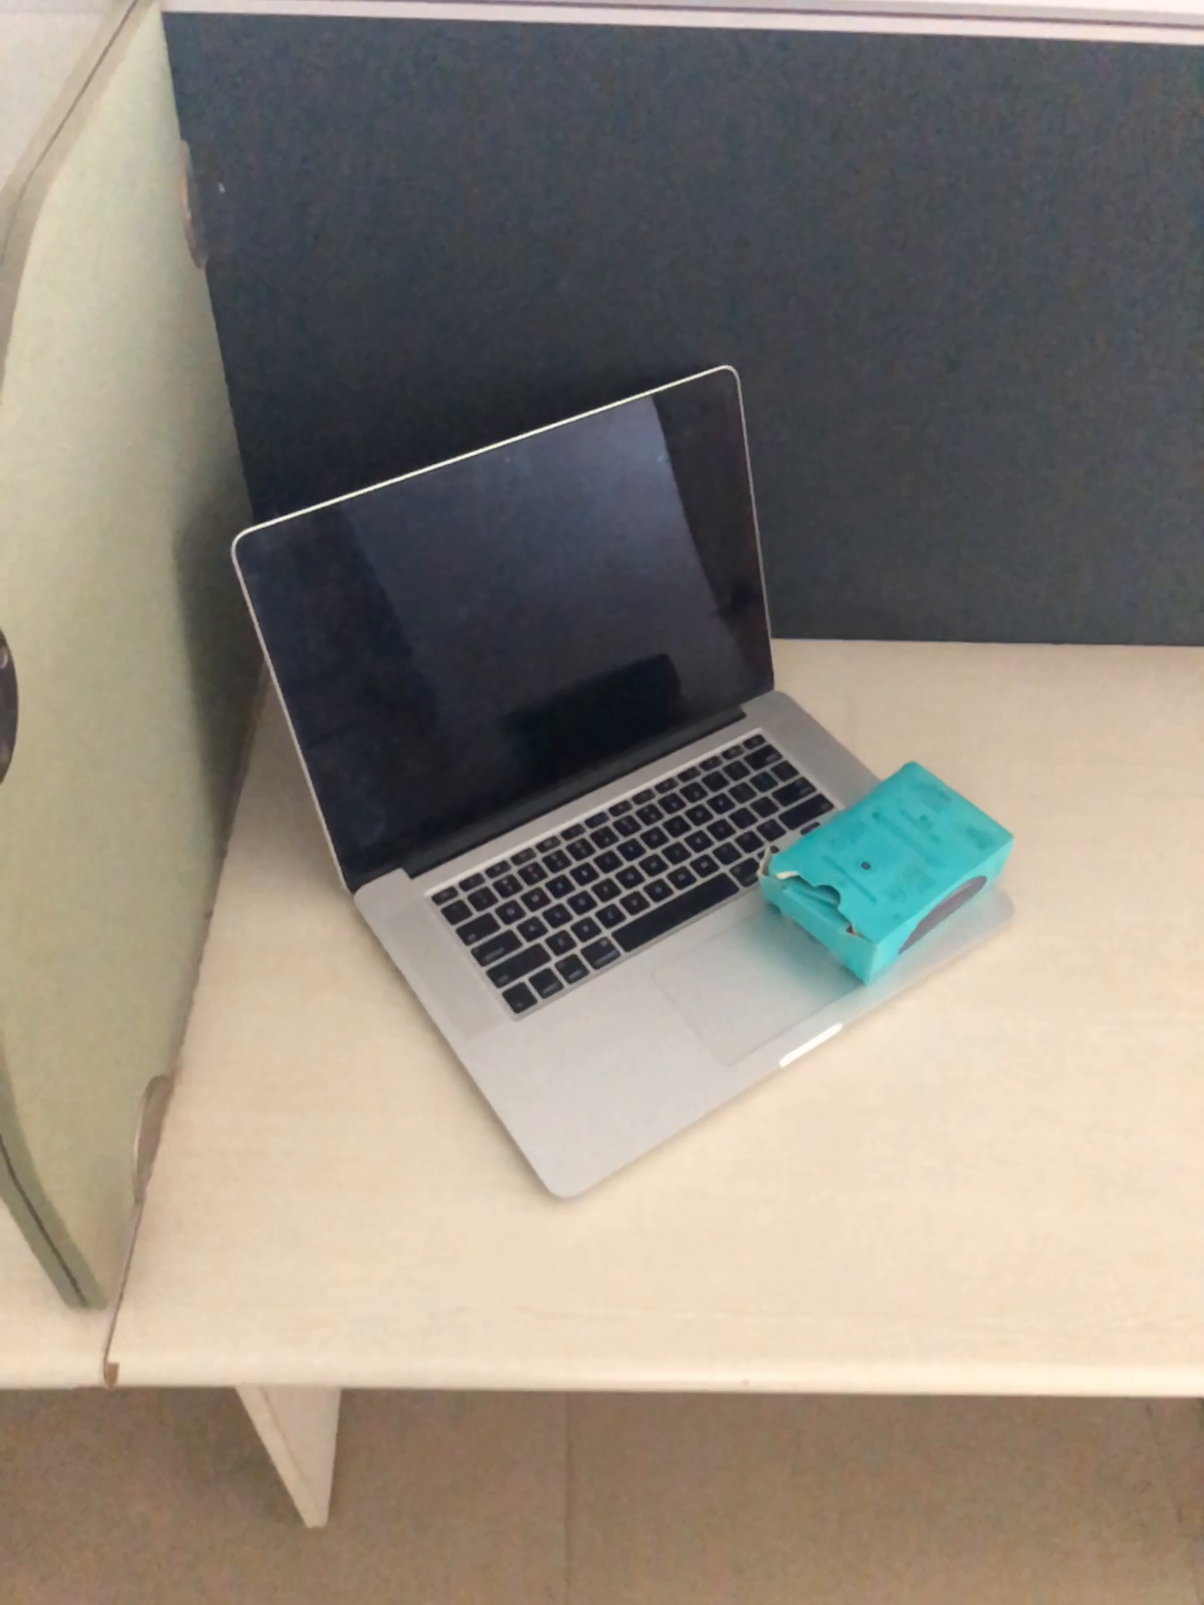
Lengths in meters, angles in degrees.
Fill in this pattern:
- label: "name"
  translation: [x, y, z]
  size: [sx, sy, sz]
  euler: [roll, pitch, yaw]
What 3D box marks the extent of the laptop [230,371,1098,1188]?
- label: "laptop"
  translation: [0.023, -0.036, 0.787]
  size: [0.329, 0.200, 0.339]
  euler: [-26, 56, -22]
